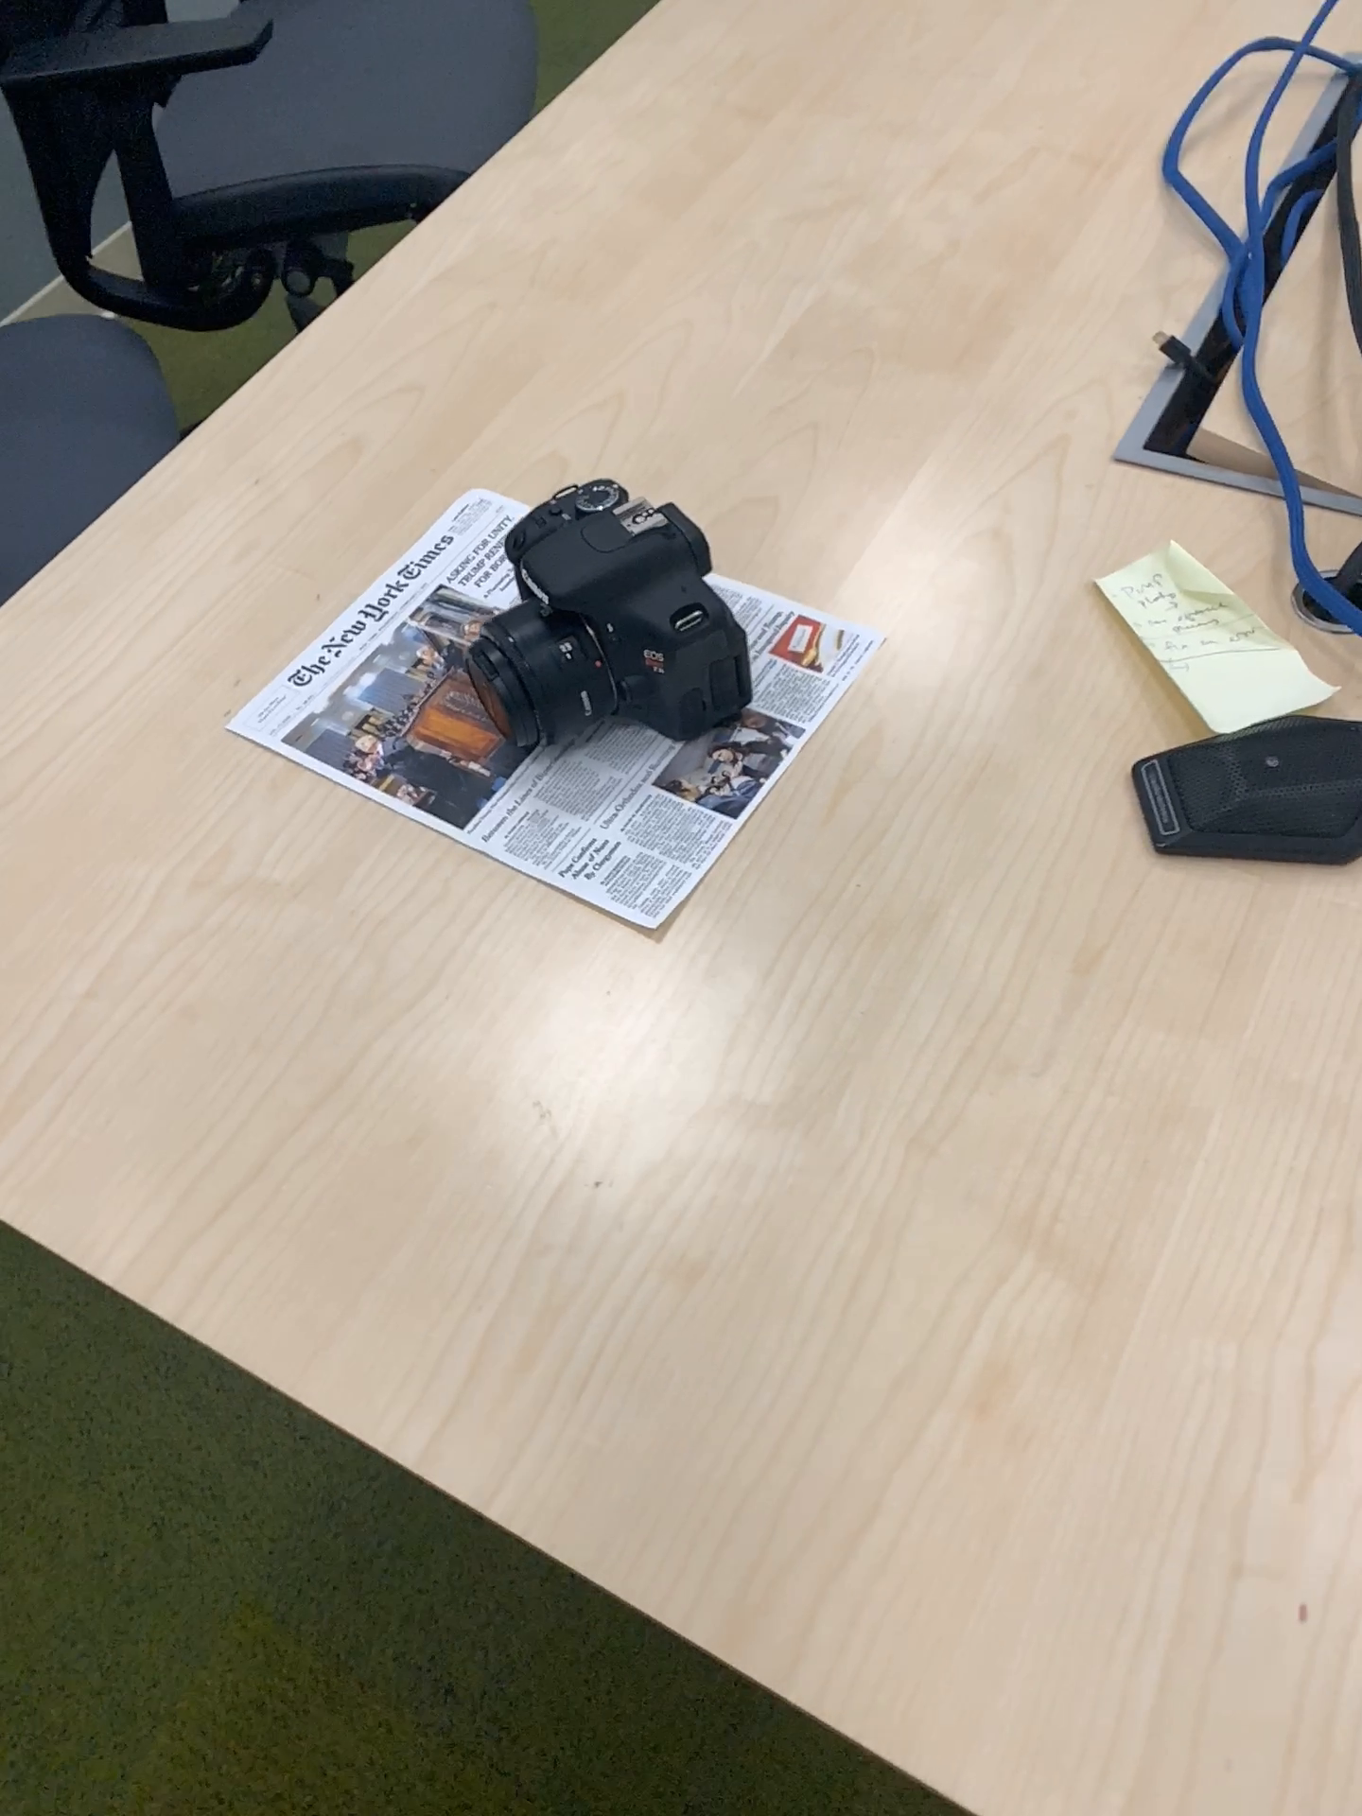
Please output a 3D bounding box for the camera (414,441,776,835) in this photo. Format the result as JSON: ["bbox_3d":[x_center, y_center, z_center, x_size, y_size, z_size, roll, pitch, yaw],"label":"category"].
[{"bbox_3d":[-0.040,-0.134,0.689,0.121,0.100,0.125,-28,55,-11],"label":"camera"}]
